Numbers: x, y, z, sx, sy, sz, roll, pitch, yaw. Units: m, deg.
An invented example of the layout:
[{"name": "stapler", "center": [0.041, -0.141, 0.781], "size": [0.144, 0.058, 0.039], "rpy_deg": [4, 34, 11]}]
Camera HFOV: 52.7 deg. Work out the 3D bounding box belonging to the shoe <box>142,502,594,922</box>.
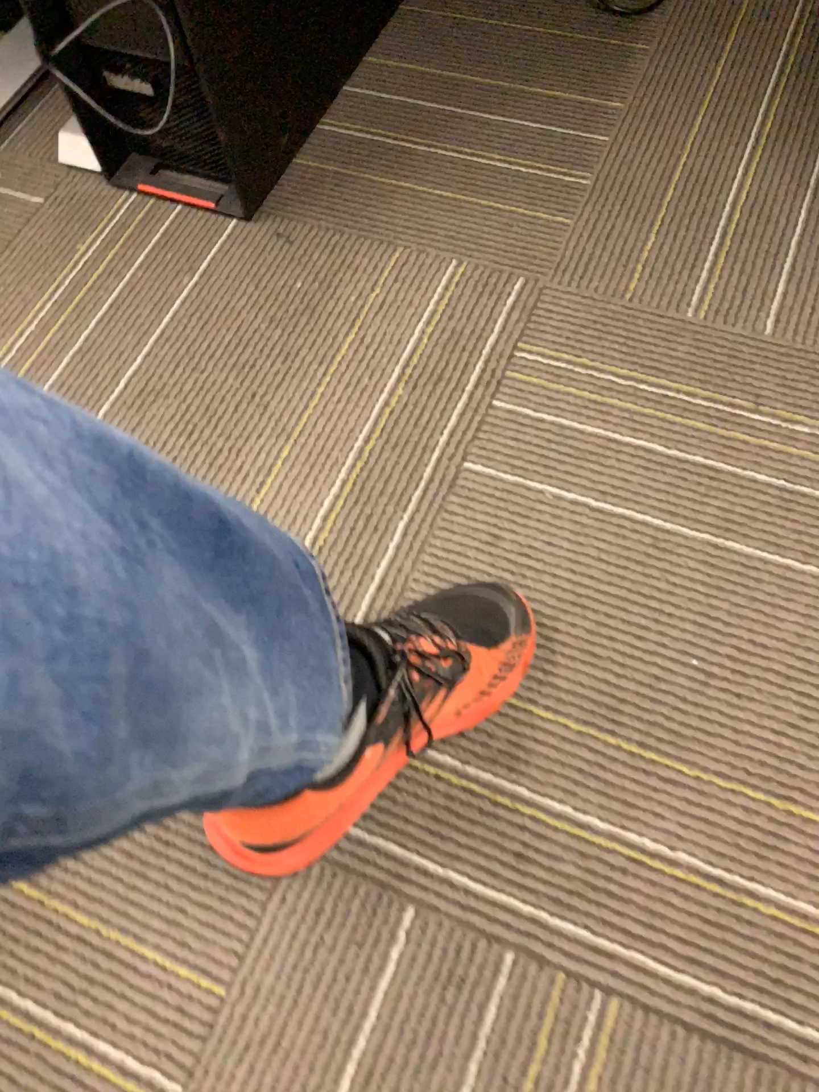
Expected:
[{"name": "shoe", "center": [-0.017, 0.099, 0.607], "size": [0.126, 0.106, 0.314], "rpy_deg": [35, 46, 29]}]
